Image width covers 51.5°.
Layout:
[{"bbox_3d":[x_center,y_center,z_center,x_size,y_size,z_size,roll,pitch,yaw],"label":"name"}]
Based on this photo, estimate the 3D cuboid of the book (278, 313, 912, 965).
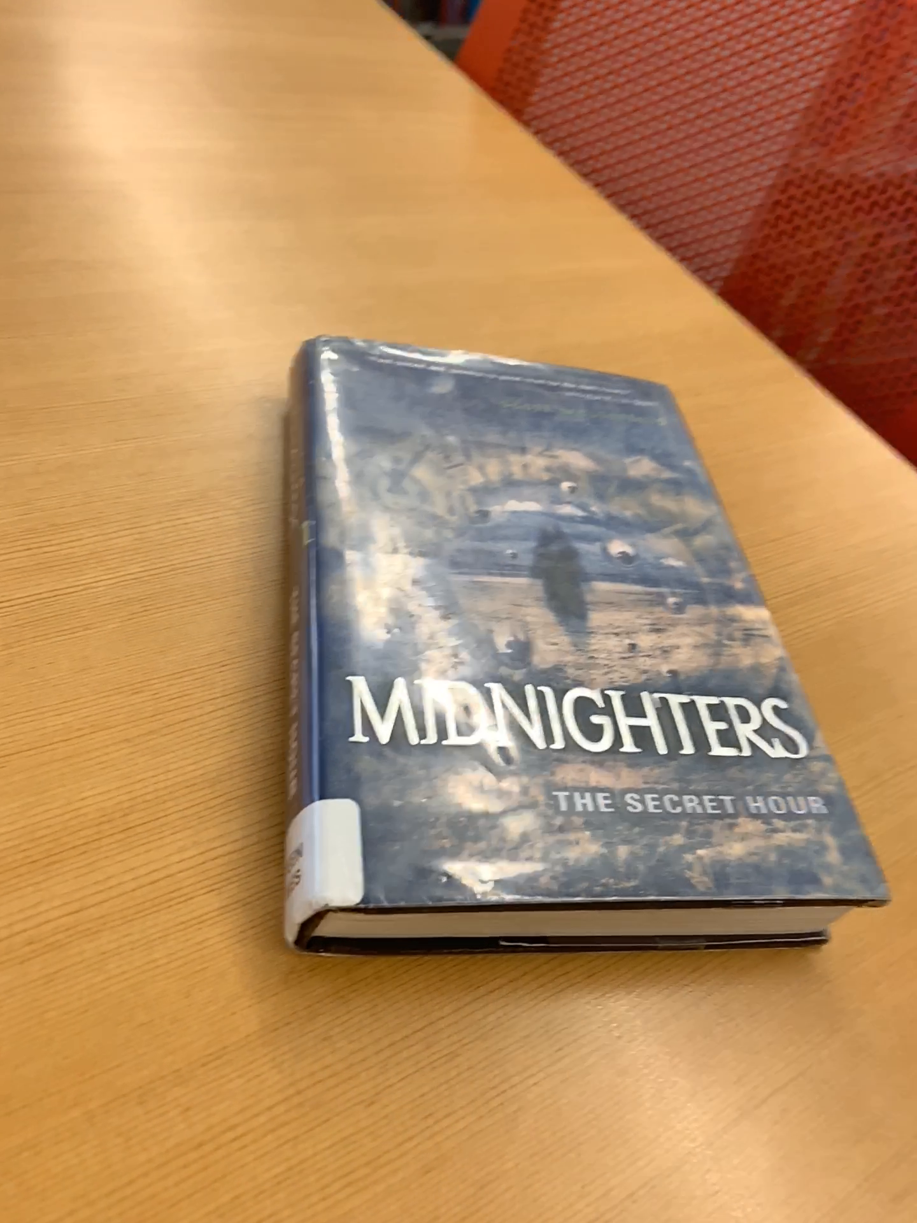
[{"bbox_3d":[0.022,-0.006,0.298,0.150,0.040,0.215,4,48,-15],"label":"book"}]
